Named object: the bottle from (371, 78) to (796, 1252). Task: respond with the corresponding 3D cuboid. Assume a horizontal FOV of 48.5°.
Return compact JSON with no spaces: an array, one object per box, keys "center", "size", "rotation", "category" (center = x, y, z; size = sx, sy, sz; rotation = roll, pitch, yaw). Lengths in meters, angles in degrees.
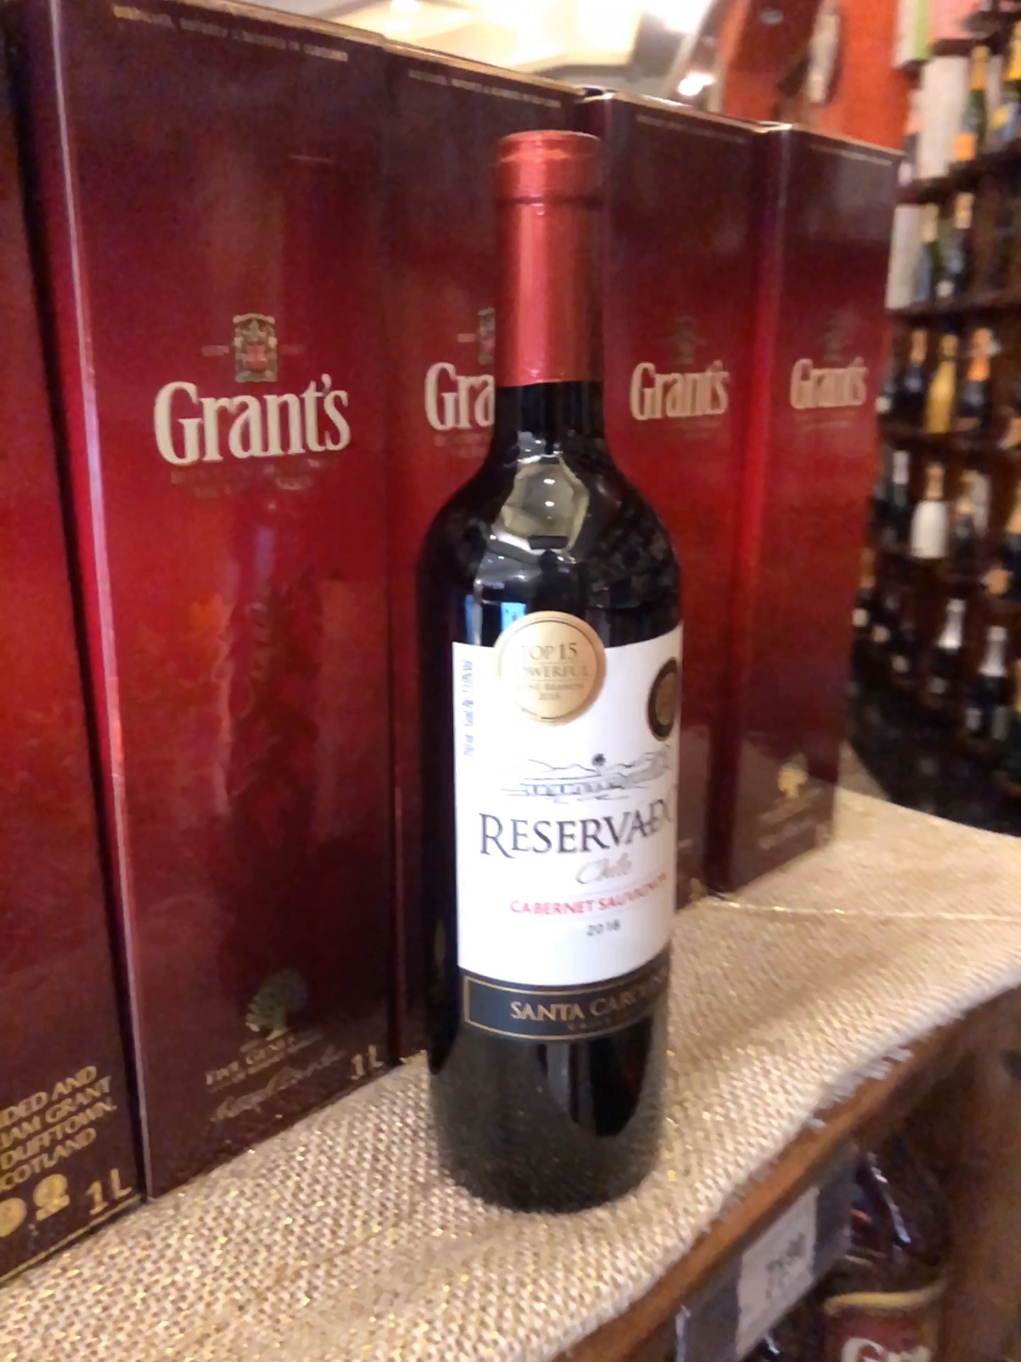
[{"center":[0.013,0.002,0.318],"size":[0.080,0.288,0.070],"rotation":[-7,17,-28],"category":"bottle"}]
